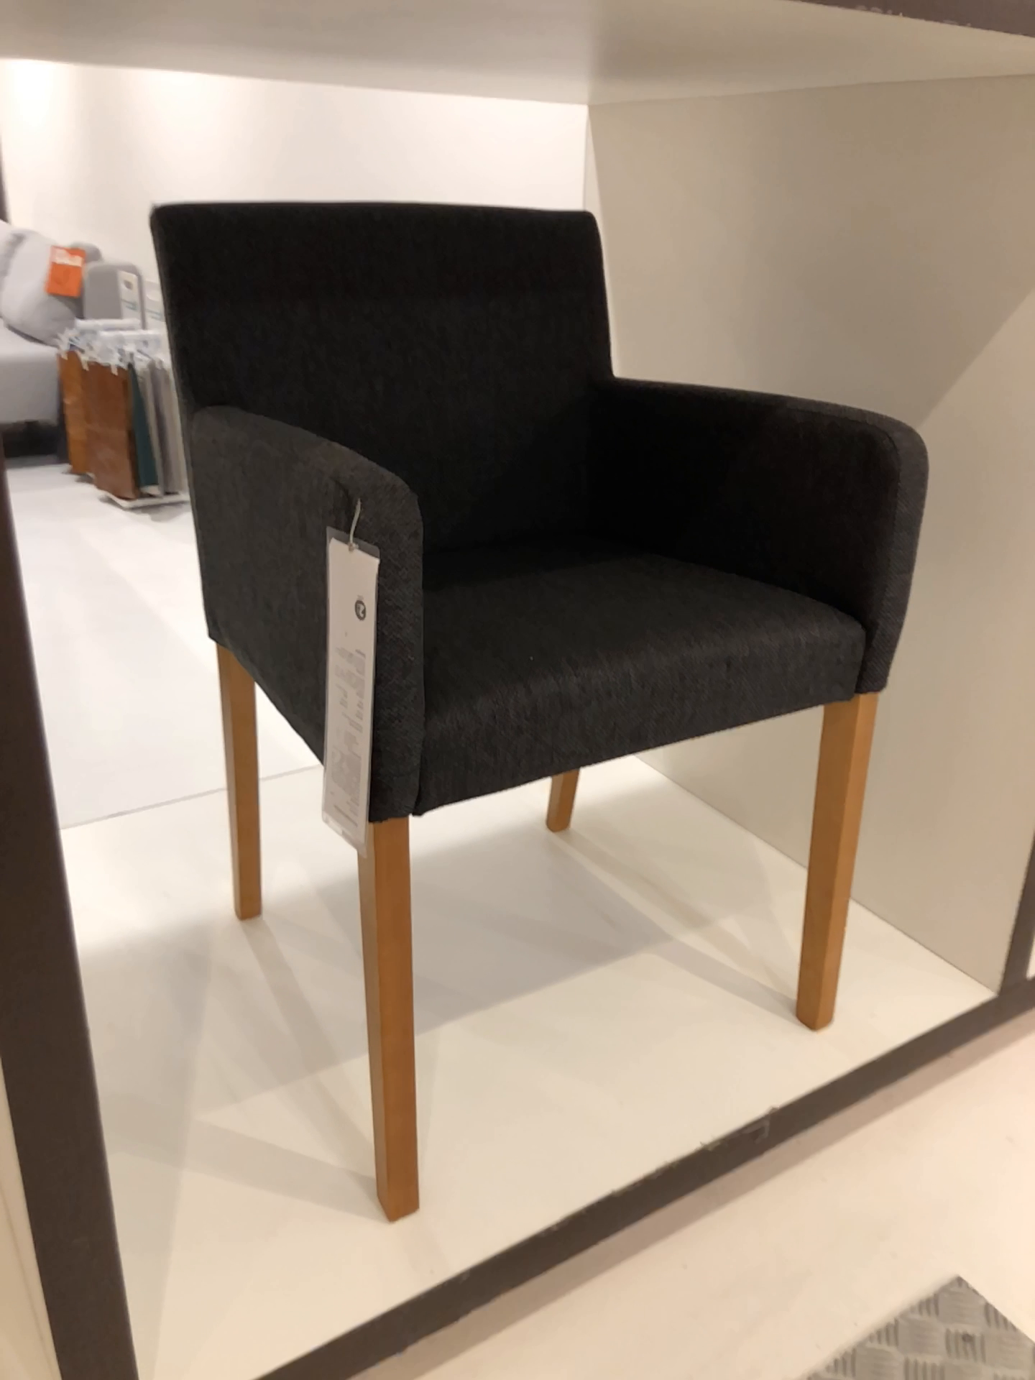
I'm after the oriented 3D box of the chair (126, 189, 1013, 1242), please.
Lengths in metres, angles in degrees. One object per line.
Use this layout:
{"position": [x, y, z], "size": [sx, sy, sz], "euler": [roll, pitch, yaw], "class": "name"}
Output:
{"position": [0.002, -0.058, 1.154], "size": [0.562, 0.794, 0.562], "euler": [-12, 27, -31], "class": "chair"}
